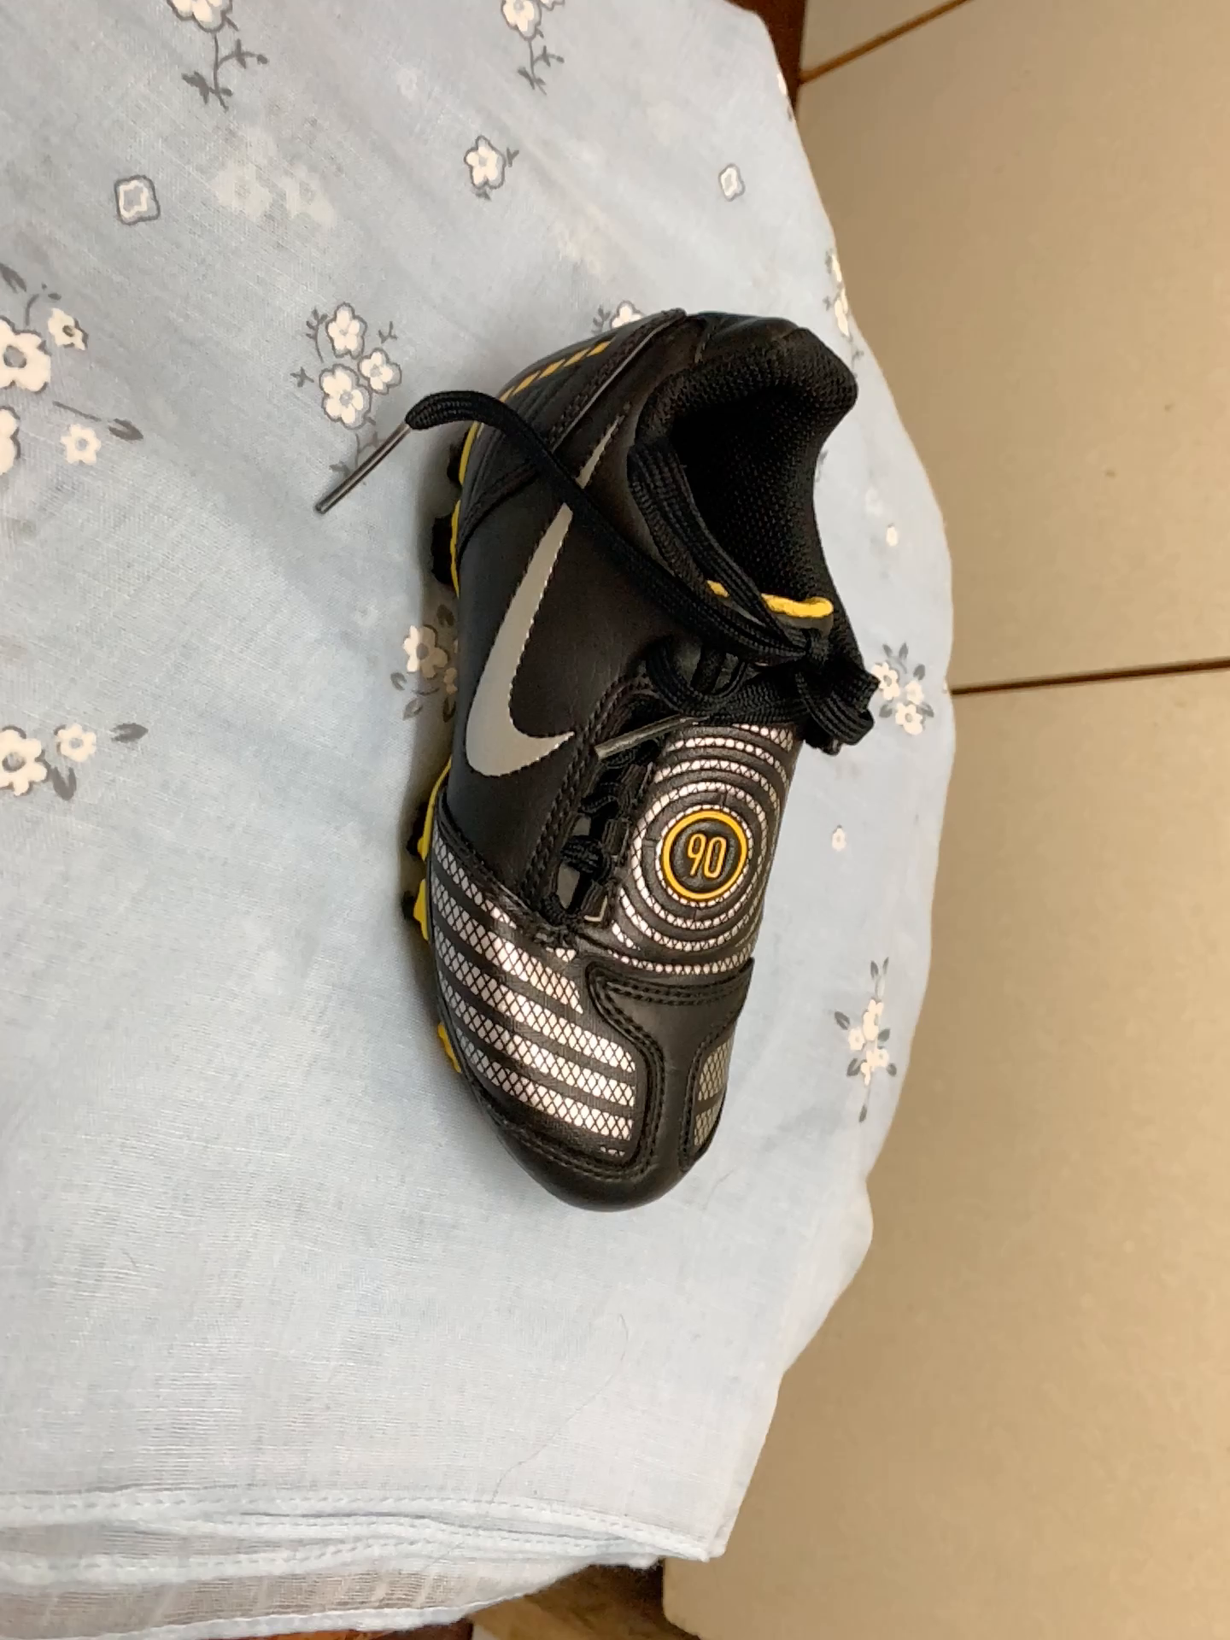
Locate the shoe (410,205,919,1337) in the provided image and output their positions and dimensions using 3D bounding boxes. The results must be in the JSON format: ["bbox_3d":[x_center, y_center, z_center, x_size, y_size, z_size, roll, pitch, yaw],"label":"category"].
[{"bbox_3d":[0.011,-0.008,0.266,0.081,0.070,0.190,1,88,-46],"label":"shoe"}]
